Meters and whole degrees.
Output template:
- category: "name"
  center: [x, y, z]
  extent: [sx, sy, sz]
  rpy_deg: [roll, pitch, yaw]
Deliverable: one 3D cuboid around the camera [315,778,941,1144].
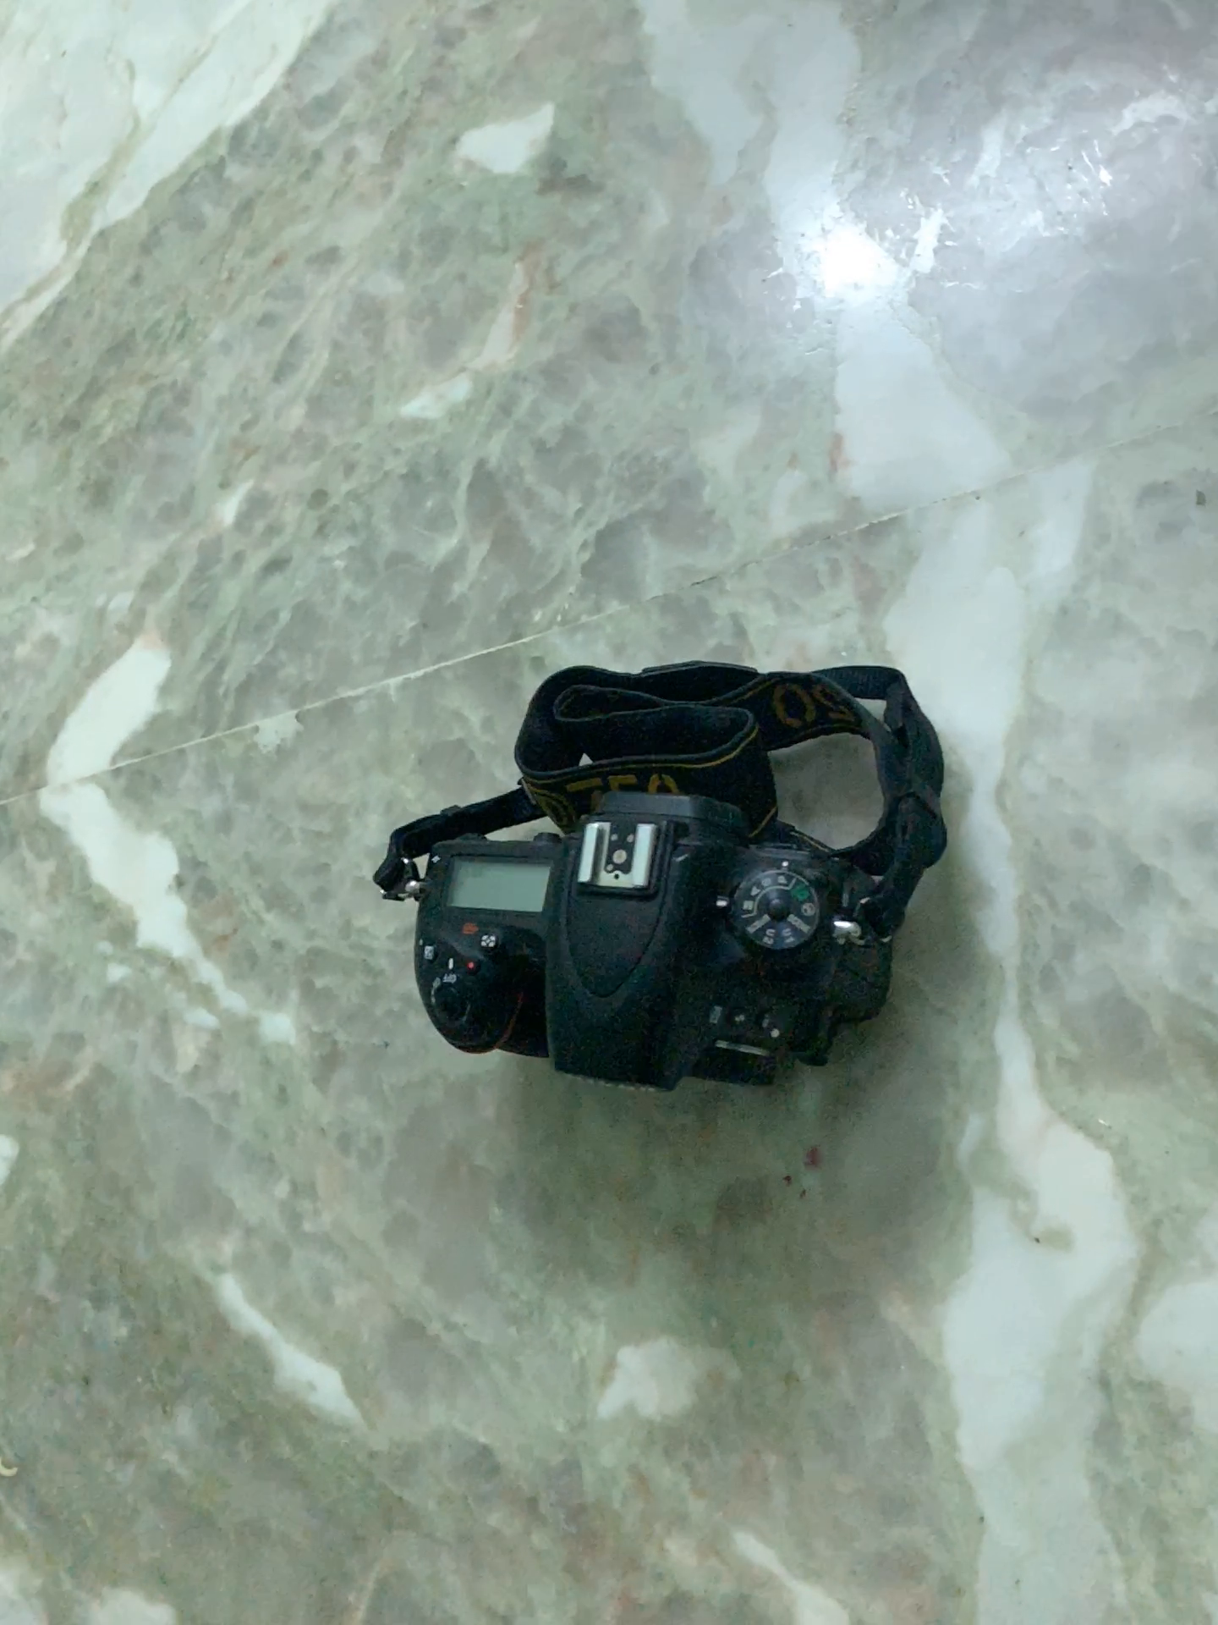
- category: "camera"
  center: [0.011, 0.045, 0.372]
  extent: [0.151, 0.100, 0.080]
  rpy_deg: [3, 76, 25]
